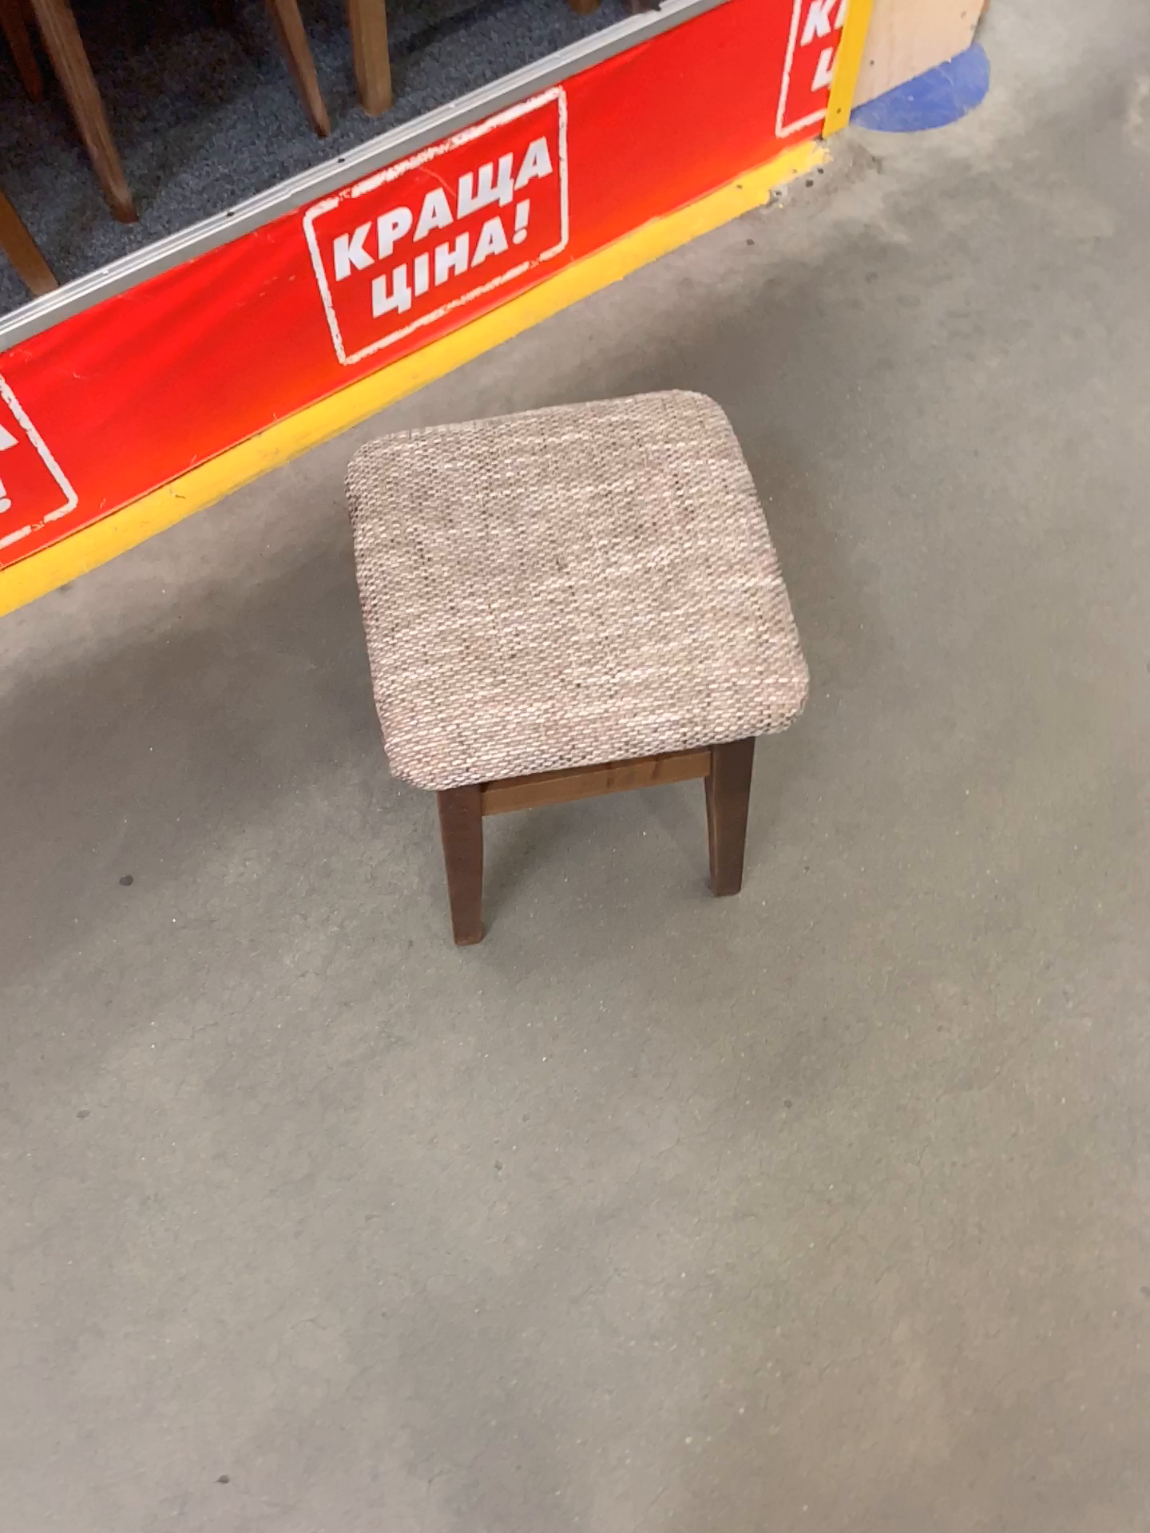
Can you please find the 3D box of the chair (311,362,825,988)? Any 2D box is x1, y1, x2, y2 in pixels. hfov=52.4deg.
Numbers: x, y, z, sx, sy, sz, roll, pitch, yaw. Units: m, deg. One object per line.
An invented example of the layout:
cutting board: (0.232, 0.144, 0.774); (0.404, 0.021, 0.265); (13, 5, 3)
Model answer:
chair: (-0.019, -0.055, 1.130); (0.340, 0.479, 0.361); (-10, 65, -5)
